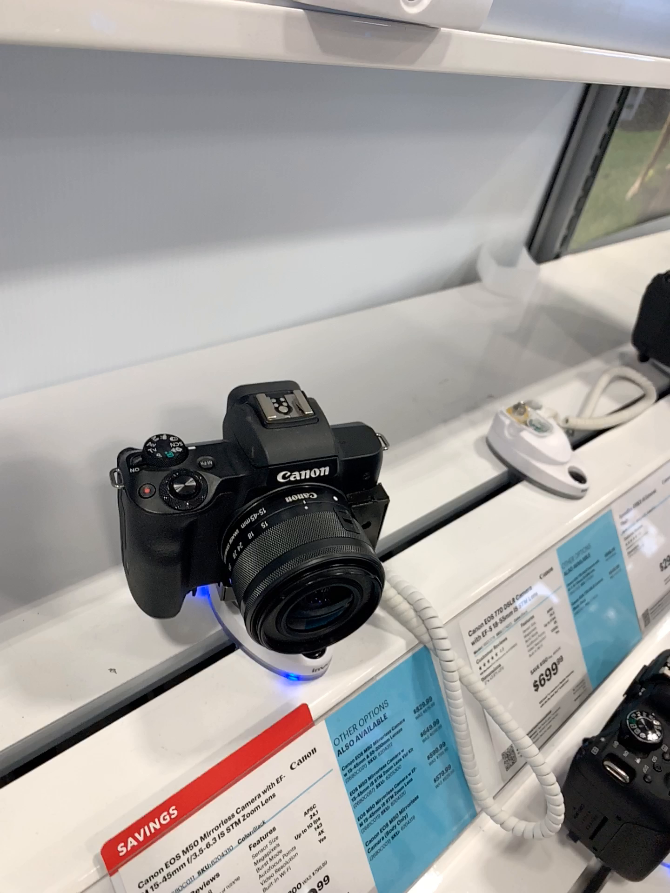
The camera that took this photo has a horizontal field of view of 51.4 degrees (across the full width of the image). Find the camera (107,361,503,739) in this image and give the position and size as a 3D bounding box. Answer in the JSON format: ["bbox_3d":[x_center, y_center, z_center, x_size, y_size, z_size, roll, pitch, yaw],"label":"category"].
[{"bbox_3d":[-0.021,0.033,0.295,0.121,0.080,0.110,-10,43,-27],"label":"camera"}]
